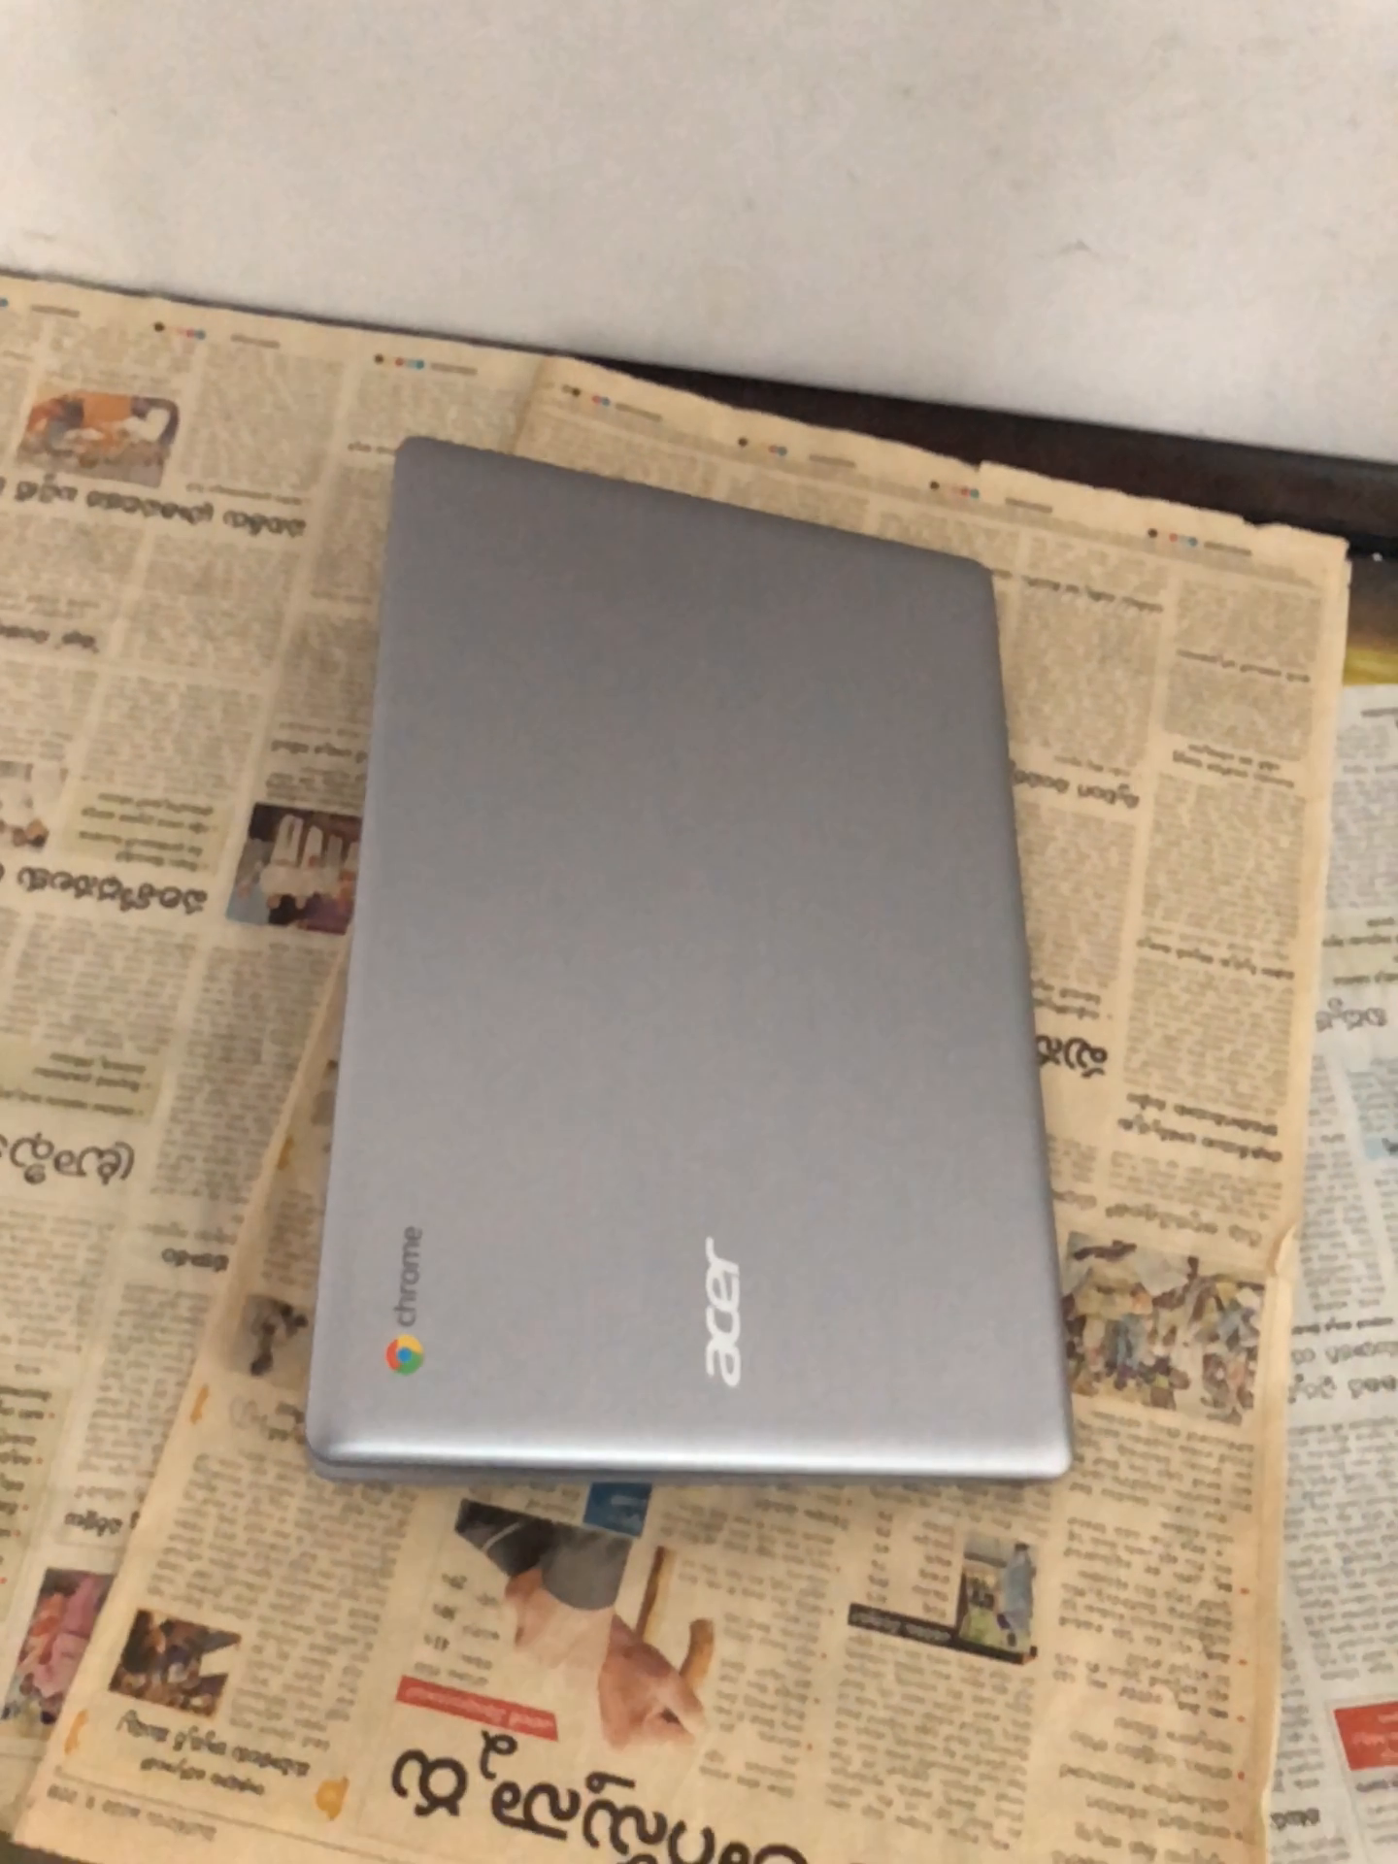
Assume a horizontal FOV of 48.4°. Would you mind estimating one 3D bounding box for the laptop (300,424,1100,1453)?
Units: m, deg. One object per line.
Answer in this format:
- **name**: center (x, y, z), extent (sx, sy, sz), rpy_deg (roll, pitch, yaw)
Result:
- **laptop**: center (0.000, -0.010, 0.503), extent (0.210, 0.058, 0.331), rpy_deg (2, 66, -3)
